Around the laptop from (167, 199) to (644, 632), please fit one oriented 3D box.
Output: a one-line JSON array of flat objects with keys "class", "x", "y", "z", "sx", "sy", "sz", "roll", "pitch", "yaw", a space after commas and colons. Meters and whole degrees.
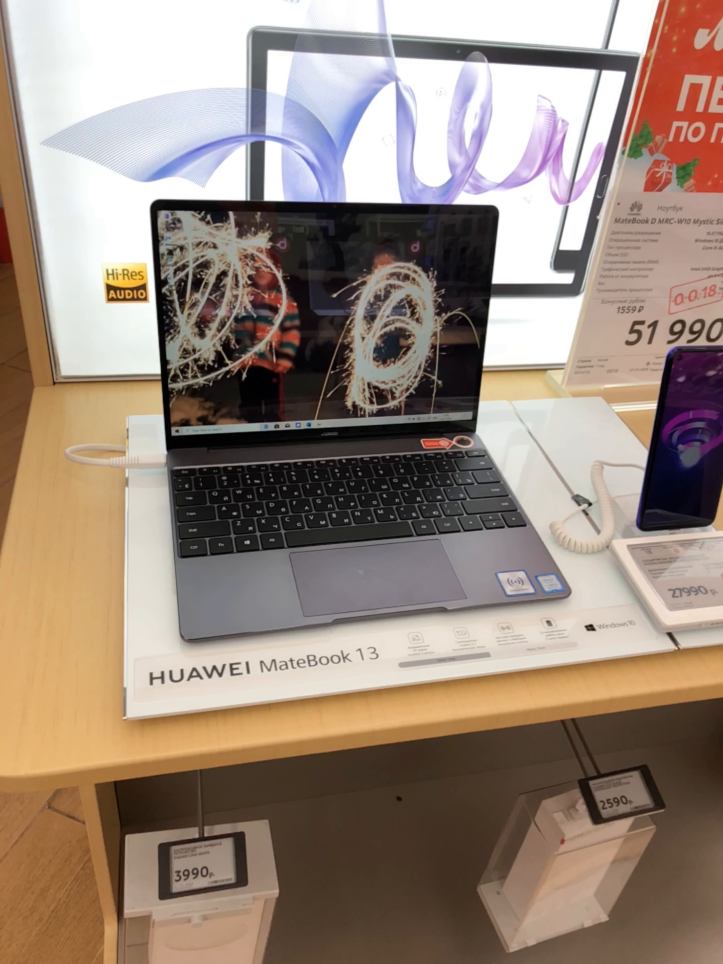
[{"class": "laptop", "x": 0.004, "y": -0.066, "z": 0.589, "sx": 0.274, "sy": 0.192, "sz": 0.245, "roll": -4, "pitch": 38, "yaw": -14}]
